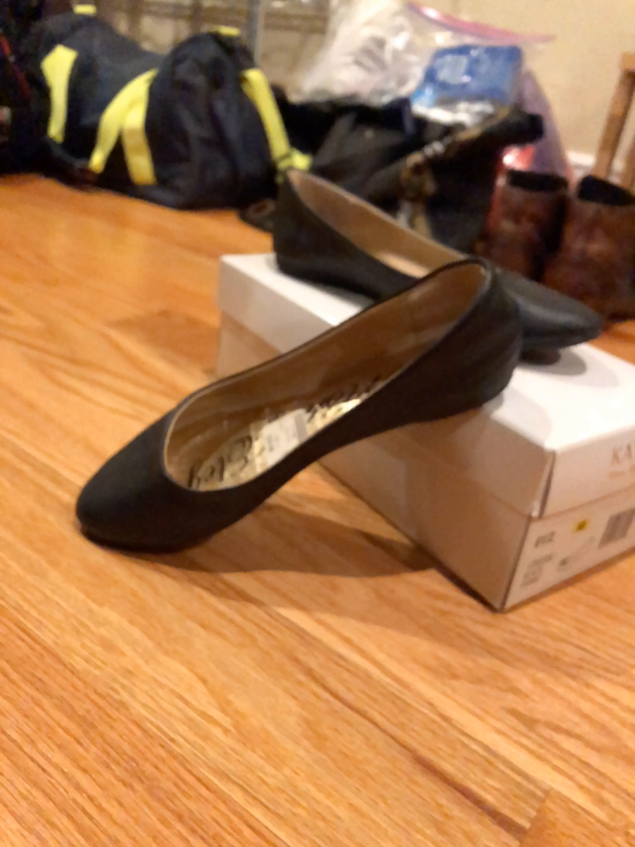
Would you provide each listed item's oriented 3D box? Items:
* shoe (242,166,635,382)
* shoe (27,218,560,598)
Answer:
[{"bbox_3d":[0.061,-0.105,0.441,0.076,0.060,0.240,-18,37,-42],"label":"shoe"},{"bbox_3d":[-0.018,-0.003,0.347,0.239,0.060,0.076,-24,41,13],"label":"shoe"}]
